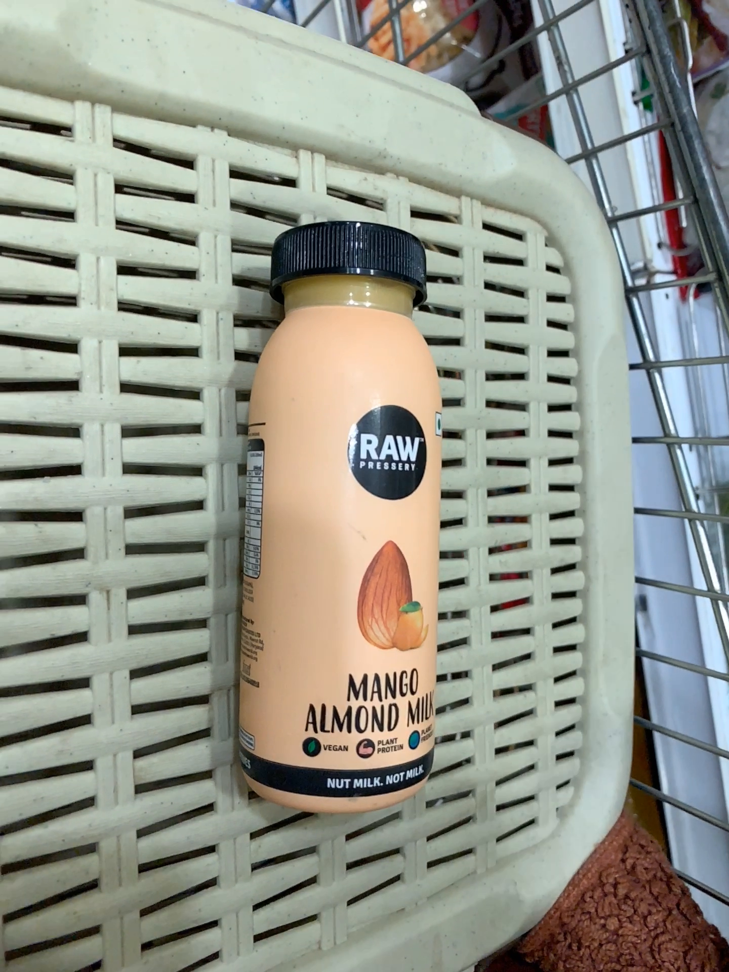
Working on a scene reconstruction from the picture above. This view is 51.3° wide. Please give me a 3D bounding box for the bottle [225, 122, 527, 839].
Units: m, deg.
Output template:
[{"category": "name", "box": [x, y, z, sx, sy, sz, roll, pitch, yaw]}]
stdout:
[{"category": "bottle", "box": [0.004, -0.001, 0.193, 0.060, 0.040, 0.150, 3, 88, -38]}]
